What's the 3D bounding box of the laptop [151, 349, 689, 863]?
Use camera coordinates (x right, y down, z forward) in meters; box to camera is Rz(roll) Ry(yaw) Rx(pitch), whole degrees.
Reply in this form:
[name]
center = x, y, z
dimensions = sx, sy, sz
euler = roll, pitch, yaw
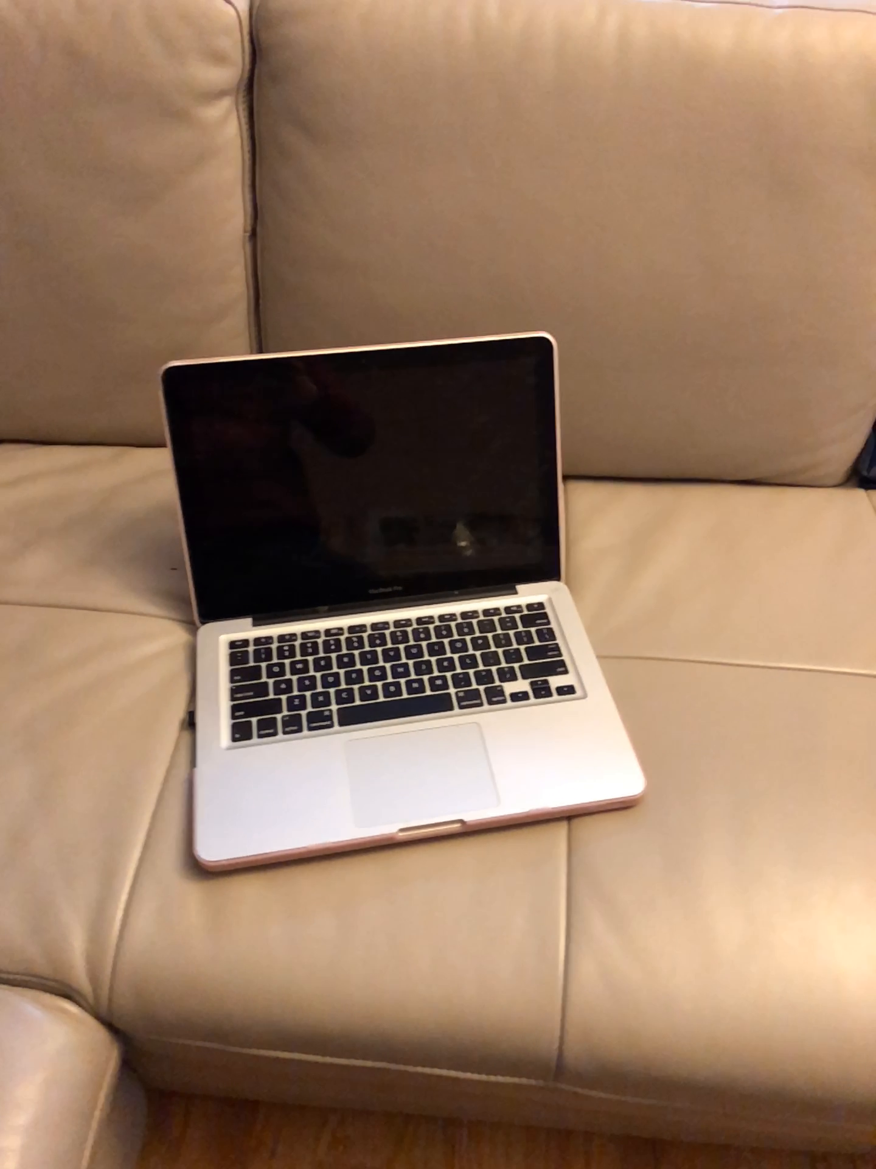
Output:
[laptop]
center = -0.030, -0.003, 0.715
dimensions = 0.308, 0.166, 0.324
euler = -7, 47, -7
